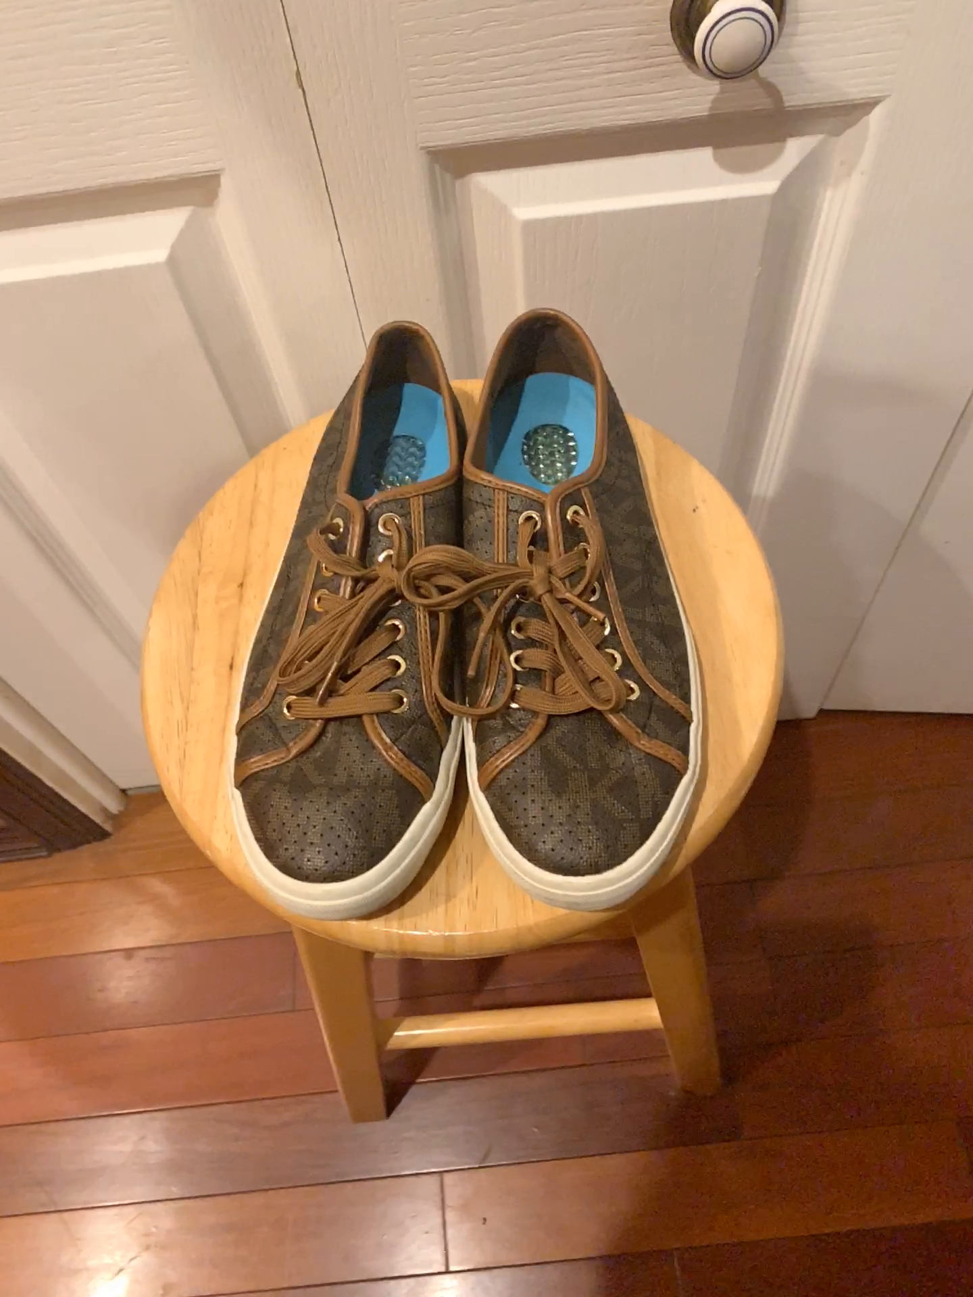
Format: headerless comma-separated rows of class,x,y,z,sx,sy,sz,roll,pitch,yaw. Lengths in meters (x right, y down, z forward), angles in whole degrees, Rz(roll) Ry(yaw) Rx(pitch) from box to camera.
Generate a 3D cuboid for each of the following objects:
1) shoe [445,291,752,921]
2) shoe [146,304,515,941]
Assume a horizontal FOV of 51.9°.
shoe,0.037,-0.026,0.428,0.100,0.080,0.261,-3,61,3
shoe,-0.049,-0.020,0.429,0.100,0.090,0.261,2,62,6
